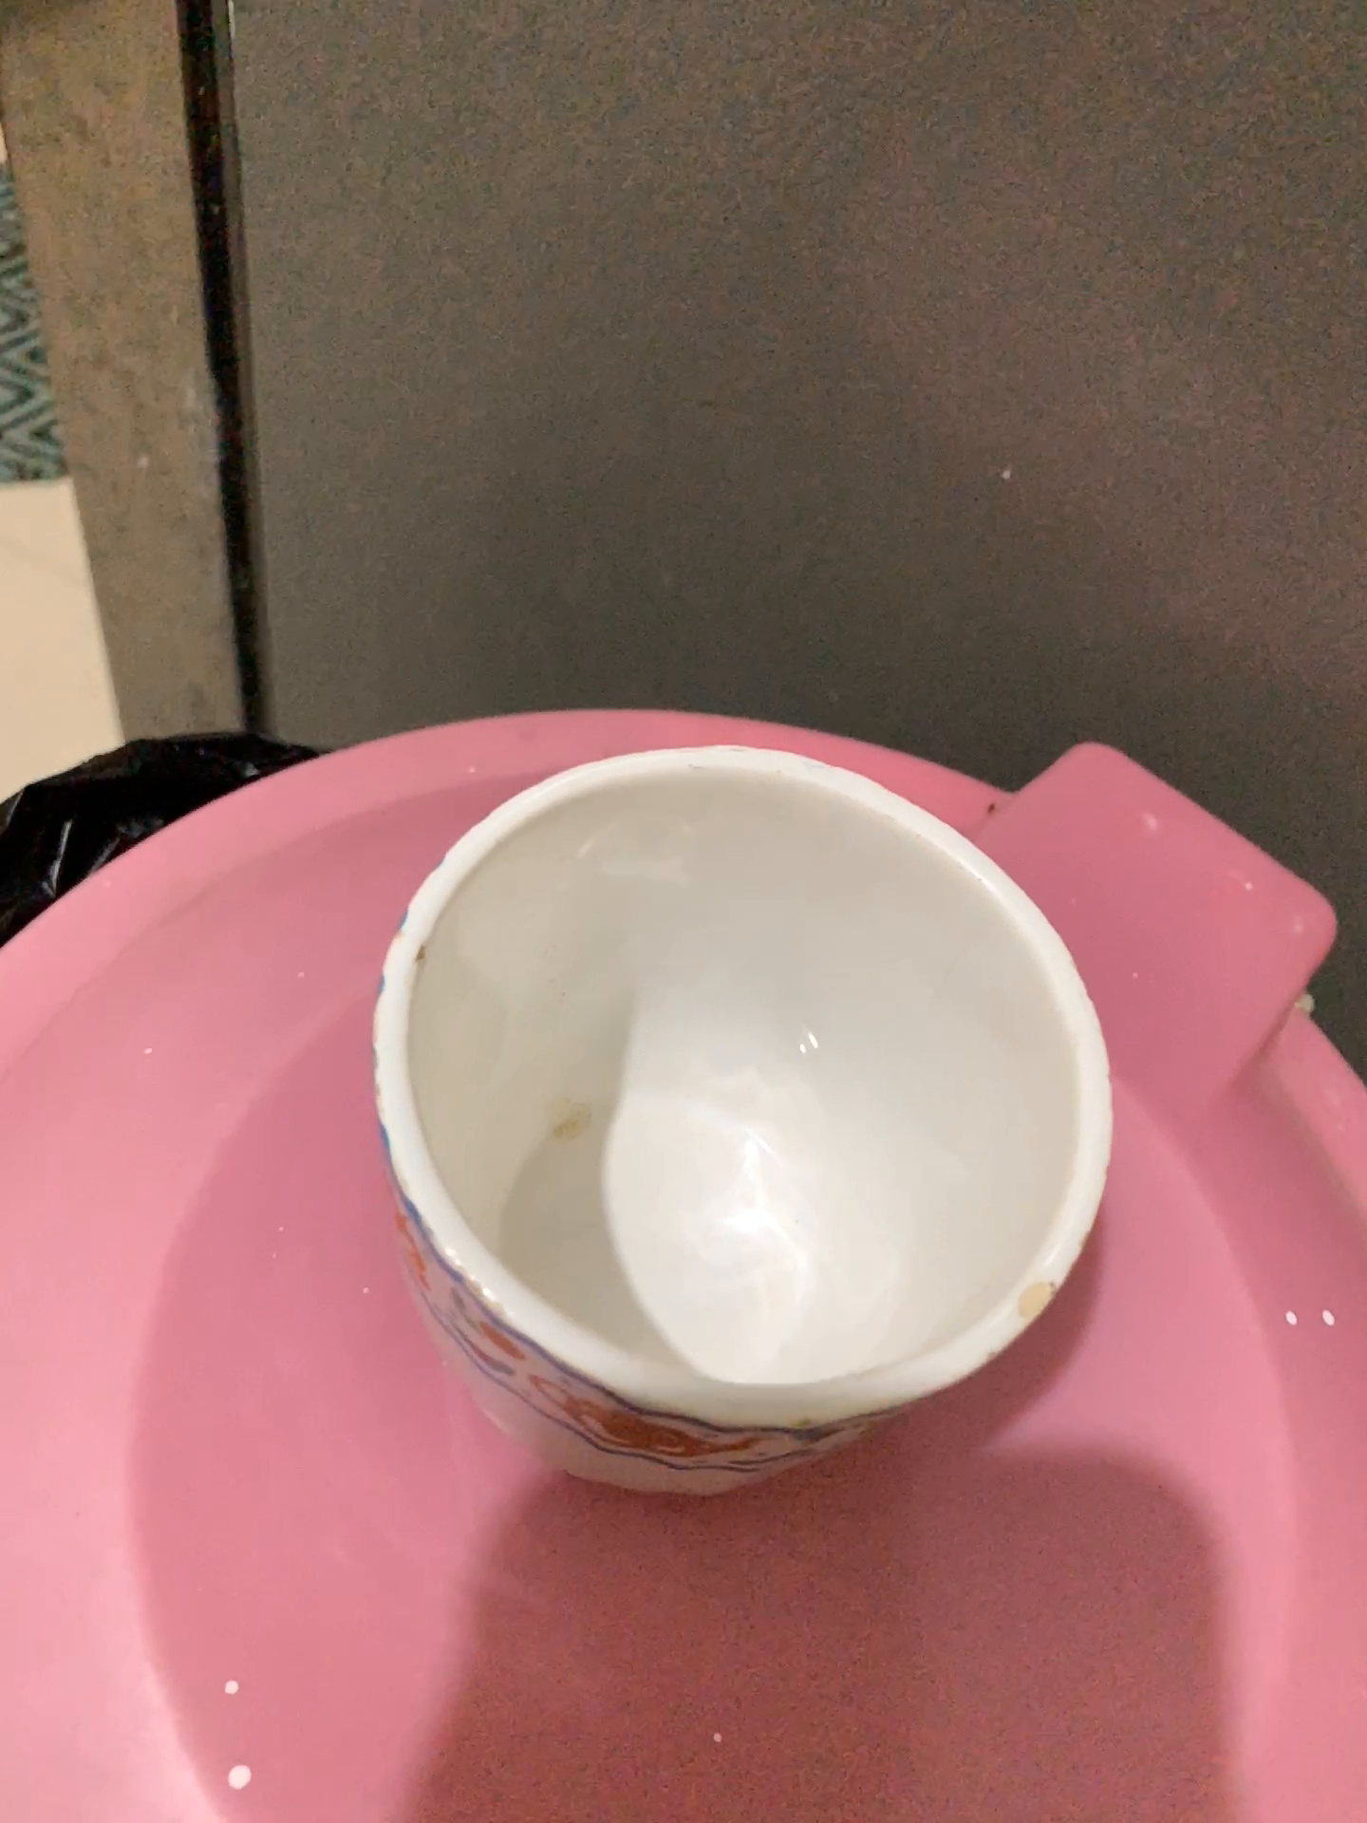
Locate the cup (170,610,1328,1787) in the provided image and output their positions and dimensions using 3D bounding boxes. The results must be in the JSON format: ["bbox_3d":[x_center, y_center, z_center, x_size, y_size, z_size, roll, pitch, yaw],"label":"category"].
[{"bbox_3d":[0.005,0.029,0.149,0.076,0.062,0.072,6,55,-9],"label":"cup"}]
